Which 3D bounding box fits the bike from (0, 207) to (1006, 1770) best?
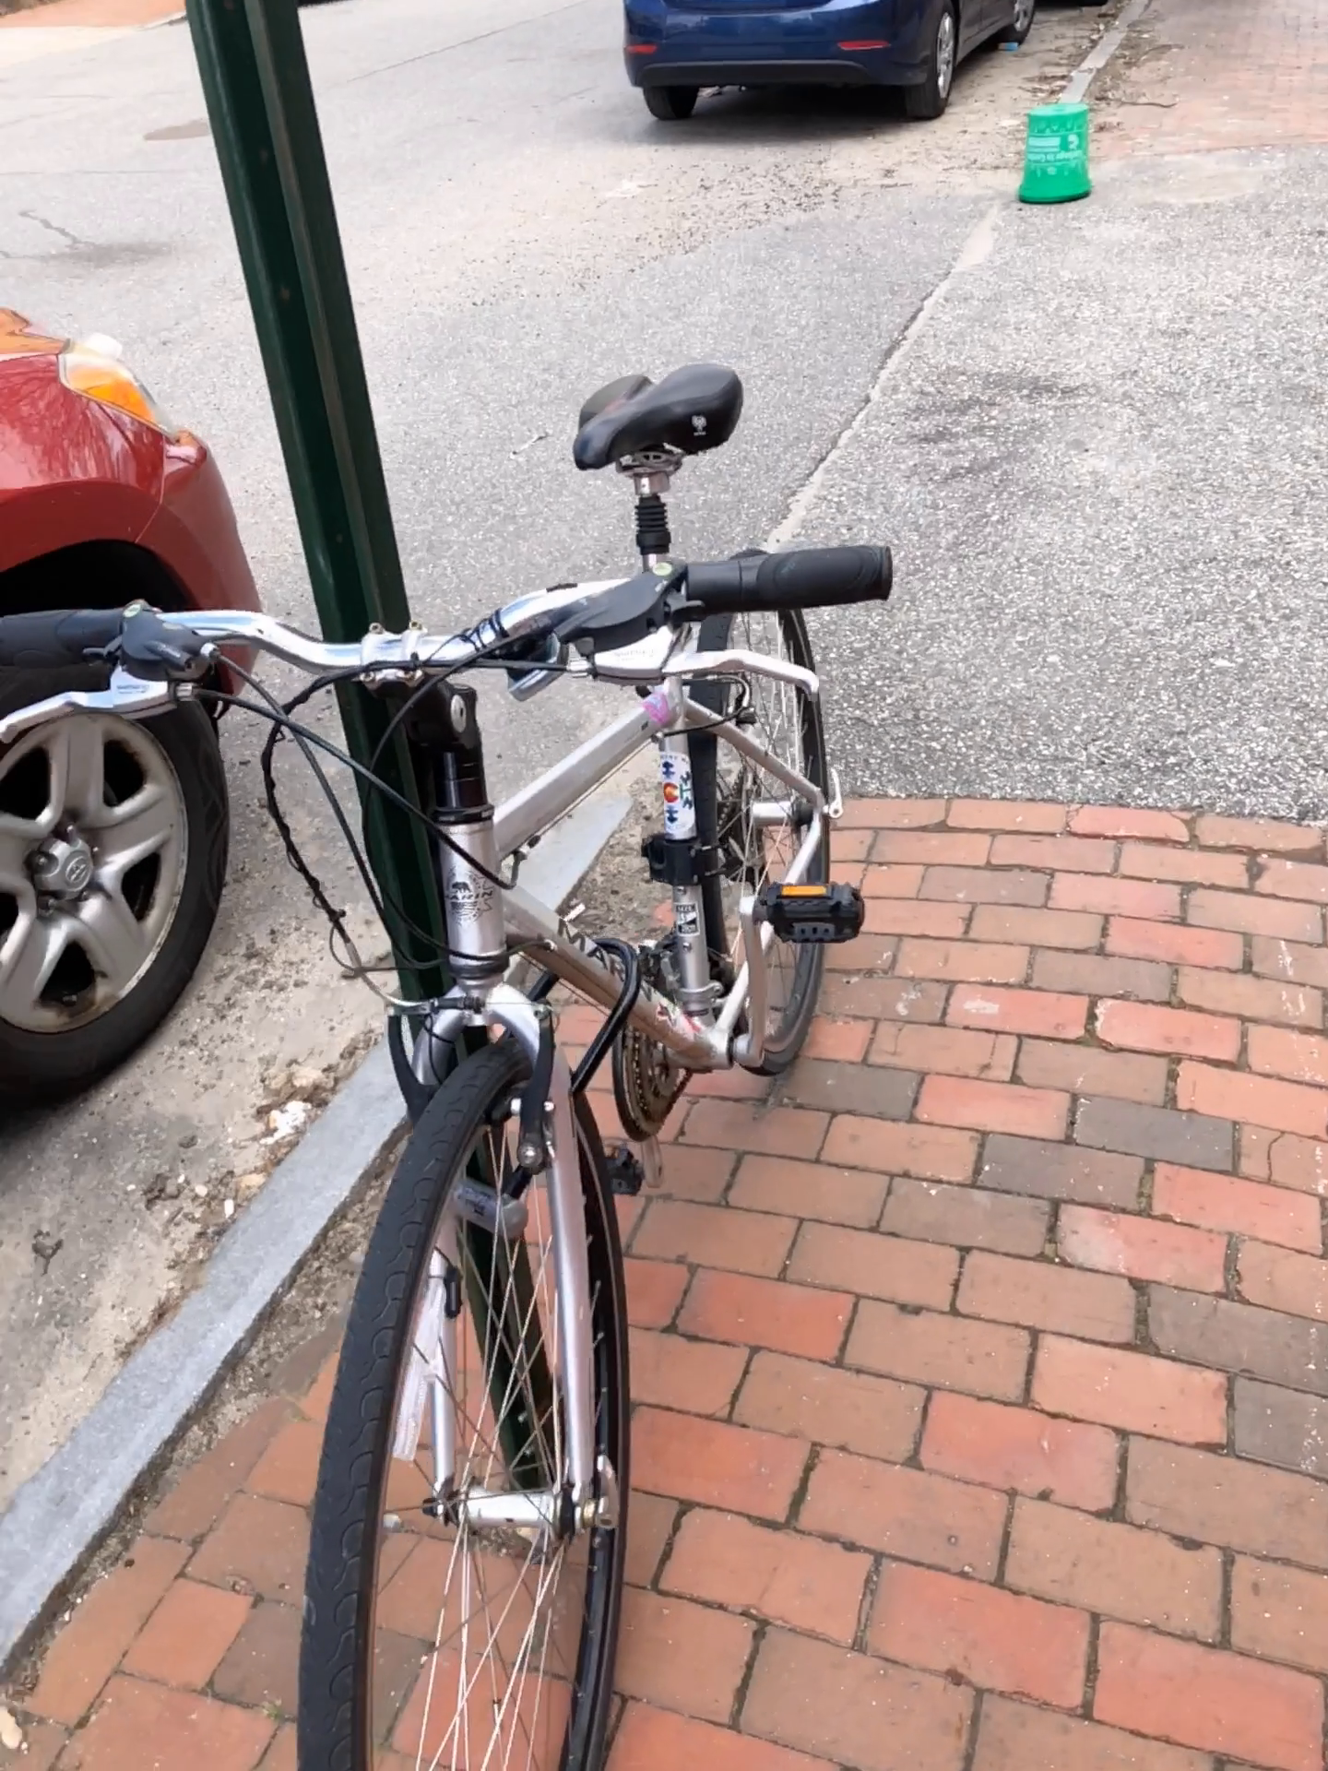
[{"bbox_3d":[-0.055,-0.011,1.271,0.608,1.011,1.569,5,31,11],"label":"bike"}]
